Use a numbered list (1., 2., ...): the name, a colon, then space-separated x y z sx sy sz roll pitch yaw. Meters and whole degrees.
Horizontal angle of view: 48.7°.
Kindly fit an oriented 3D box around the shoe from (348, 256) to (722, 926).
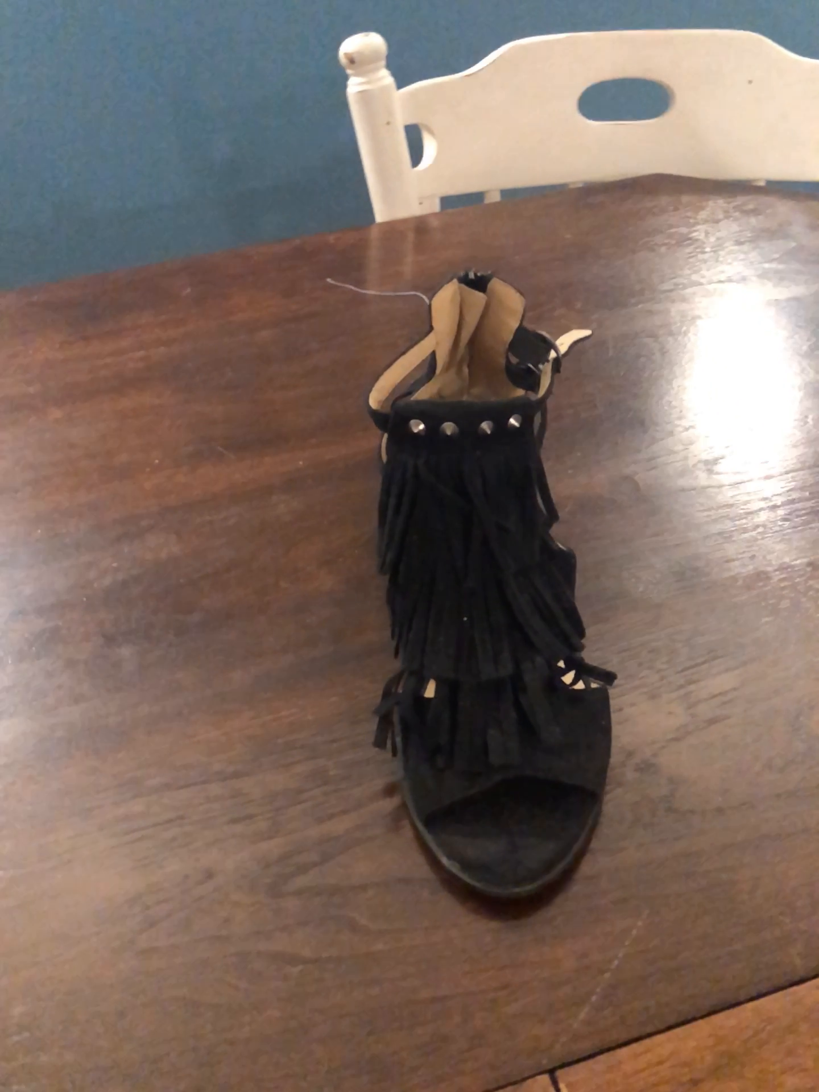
1. shoe: 0.035 0.005 0.381 0.100 0.150 0.241 -3 43 1
